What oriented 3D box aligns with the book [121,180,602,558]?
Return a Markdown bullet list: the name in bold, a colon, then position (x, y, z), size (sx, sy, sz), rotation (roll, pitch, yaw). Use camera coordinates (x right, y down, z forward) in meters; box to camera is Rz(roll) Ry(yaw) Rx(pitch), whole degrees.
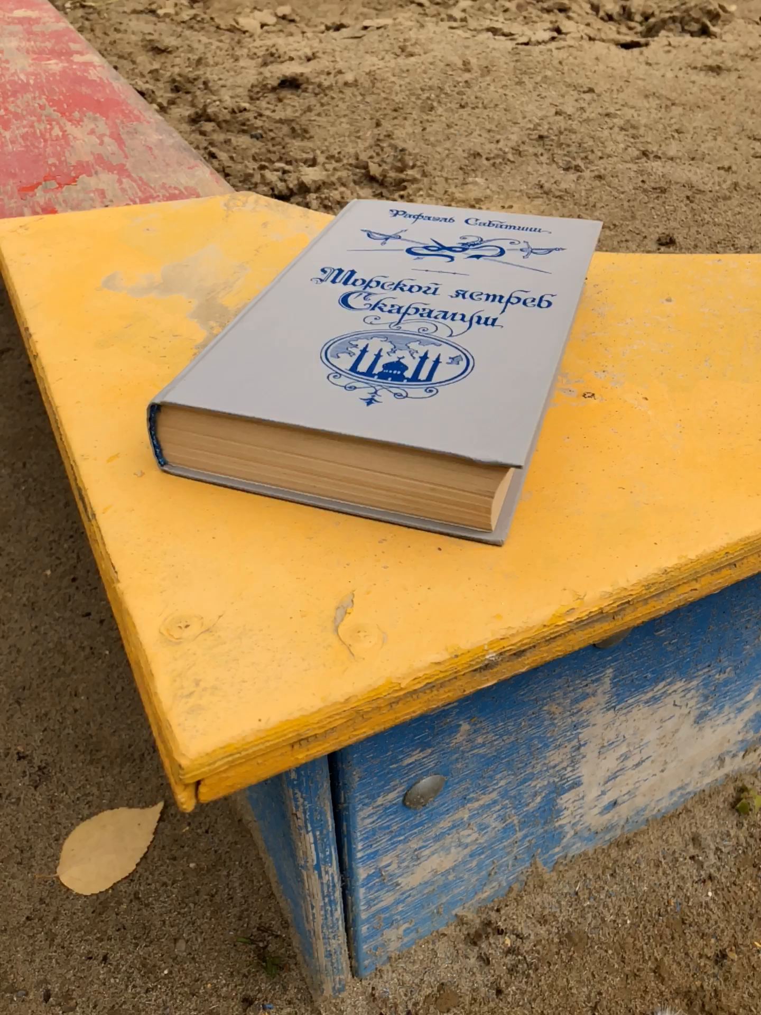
- **book**: position (0.009, -0.077, 0.355), size (0.135, 0.037, 0.211), rotation (12, 42, 14)
